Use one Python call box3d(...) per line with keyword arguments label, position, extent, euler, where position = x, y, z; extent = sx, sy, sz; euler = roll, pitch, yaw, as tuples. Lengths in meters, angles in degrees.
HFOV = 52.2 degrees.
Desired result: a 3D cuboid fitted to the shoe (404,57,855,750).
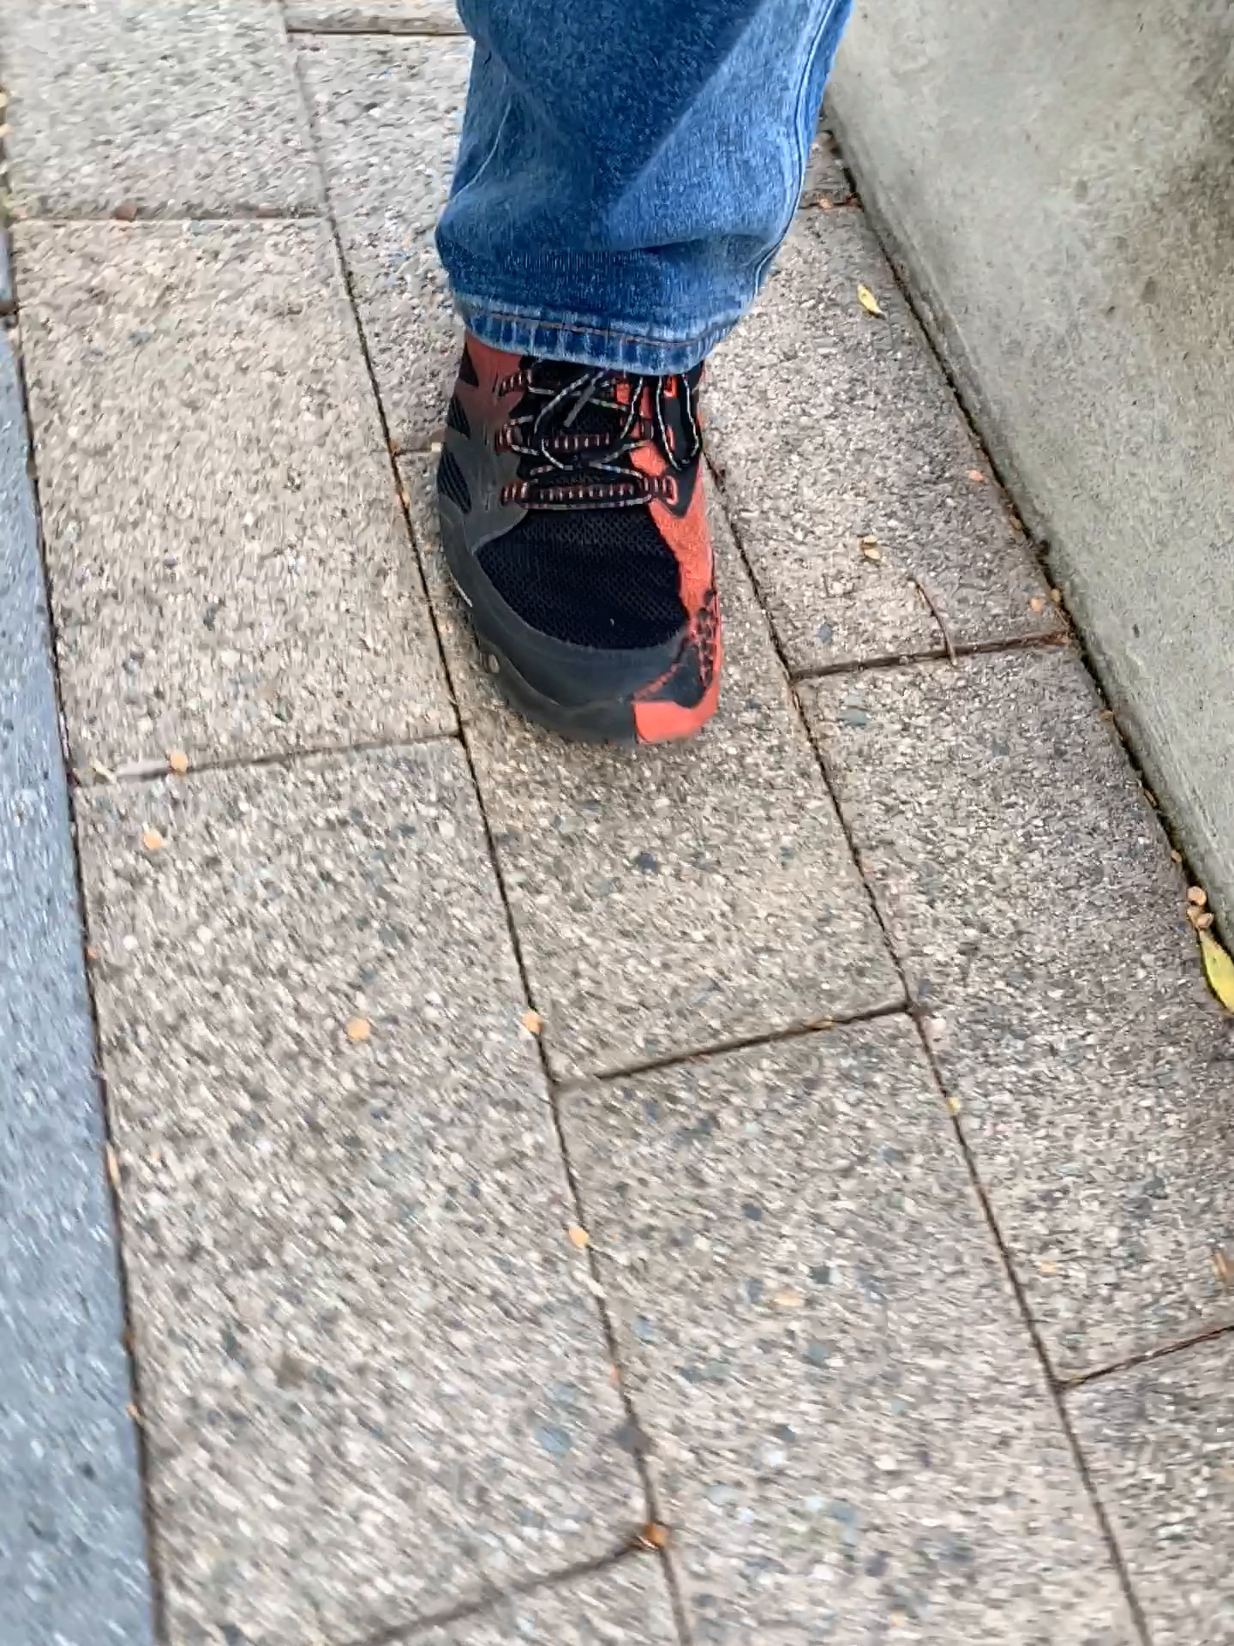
box3d(label="shoe", position=(-0.010, -0.186, 0.542), extent=(0.136, 0.080, 0.306), euler=(-2, 64, -15))
